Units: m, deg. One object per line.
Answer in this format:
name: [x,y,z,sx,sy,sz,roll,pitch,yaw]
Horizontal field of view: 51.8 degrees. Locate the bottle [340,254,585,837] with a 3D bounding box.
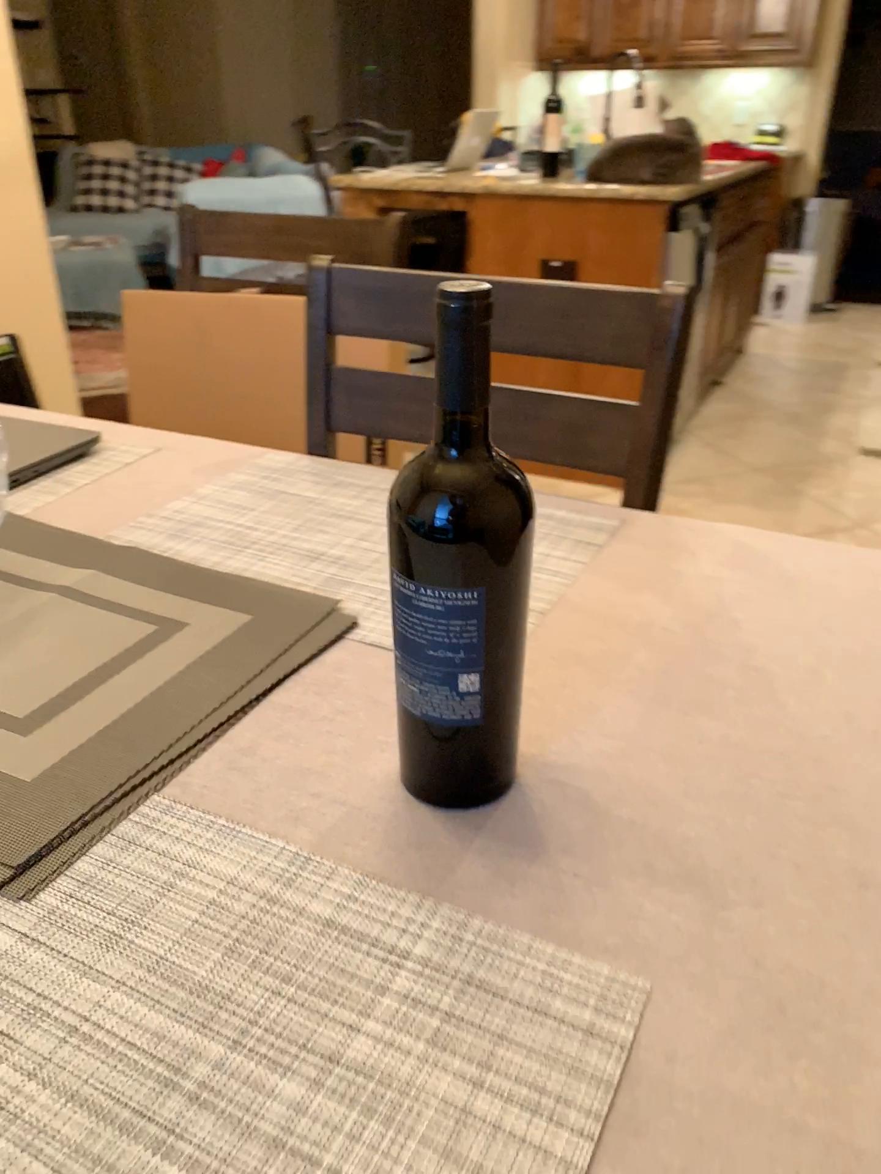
bottle: [0.013,-0.018,0.500,0.090,0.298,0.090,0,27,0]
